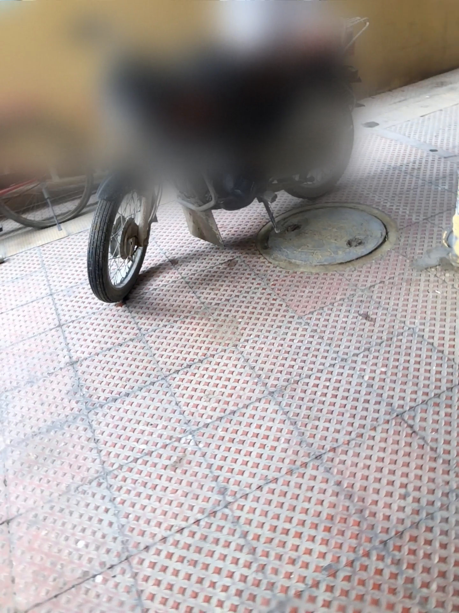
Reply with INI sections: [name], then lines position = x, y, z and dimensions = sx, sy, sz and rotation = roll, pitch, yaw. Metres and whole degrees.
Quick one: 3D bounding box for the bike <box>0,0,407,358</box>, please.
[bike]
position = -0.033, -0.755, 2.231
dimensions = 1.602, 0.974, 0.761
rotation = -35, 42, -26
